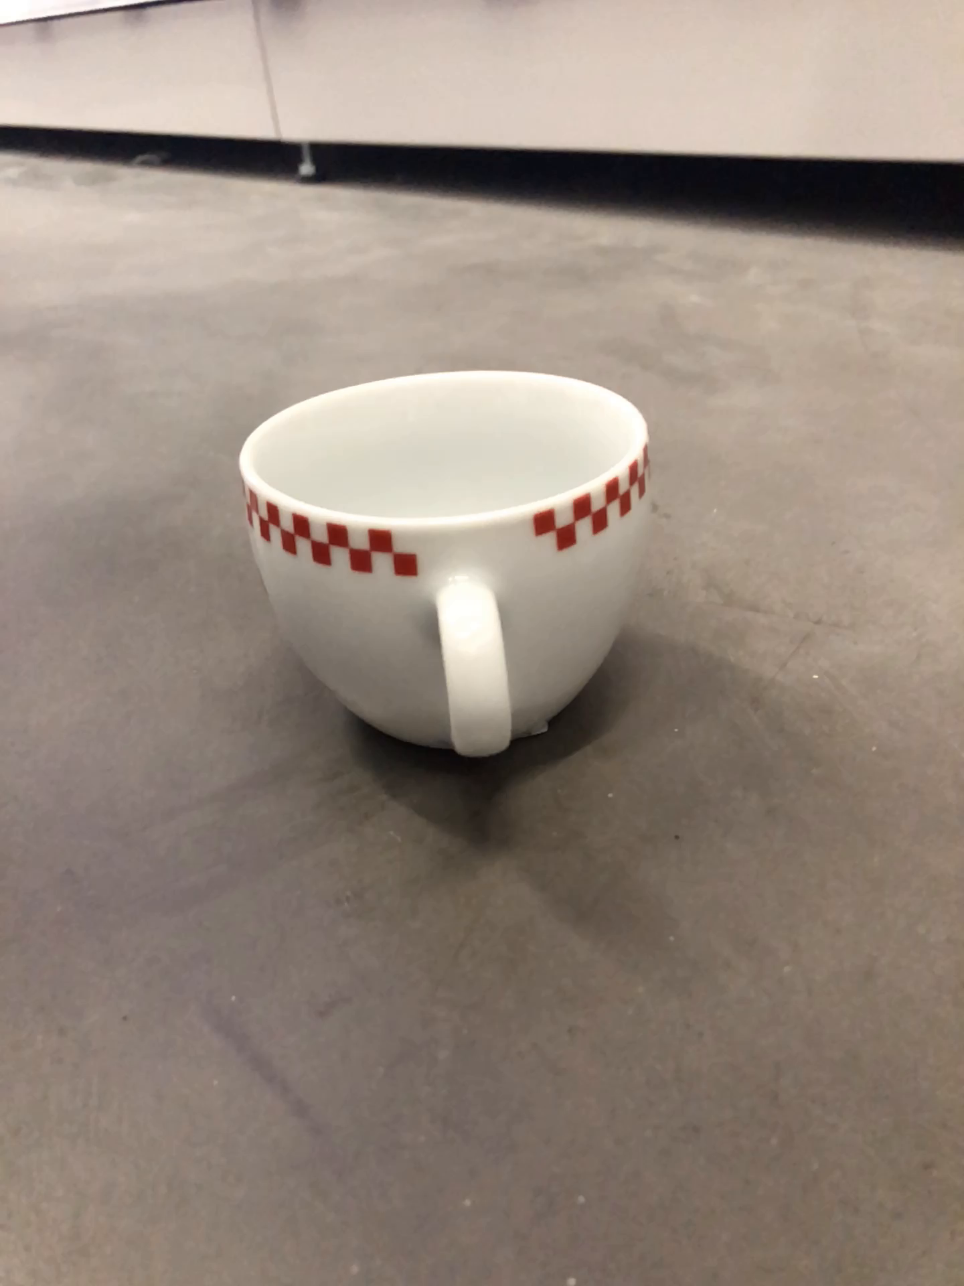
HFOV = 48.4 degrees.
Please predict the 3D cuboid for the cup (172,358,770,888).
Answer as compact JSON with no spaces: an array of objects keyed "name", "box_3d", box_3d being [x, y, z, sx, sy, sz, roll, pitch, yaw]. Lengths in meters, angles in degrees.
[{"name":"cup","box_3d":[-0.005,-0.013,0.221,0.088,0.058,0.111,-4,29,-4]}]
